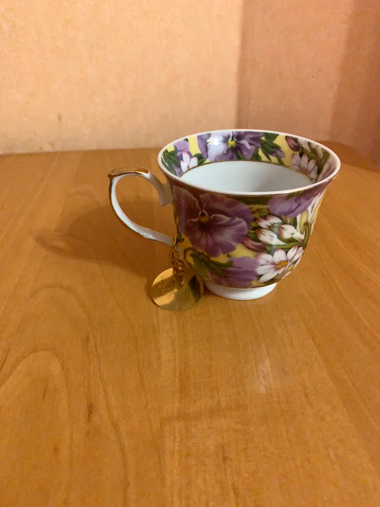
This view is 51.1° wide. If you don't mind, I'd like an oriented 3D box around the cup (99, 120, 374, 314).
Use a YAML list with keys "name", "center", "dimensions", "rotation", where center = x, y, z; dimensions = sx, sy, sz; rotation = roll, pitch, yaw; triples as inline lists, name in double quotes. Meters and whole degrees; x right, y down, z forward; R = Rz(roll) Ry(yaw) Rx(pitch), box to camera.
- name: "cup"
  center: [0.017, -0.023, 0.207]
  dimensions: [0.108, 0.069, 0.077]
  rotation: [-2, 32, -2]
